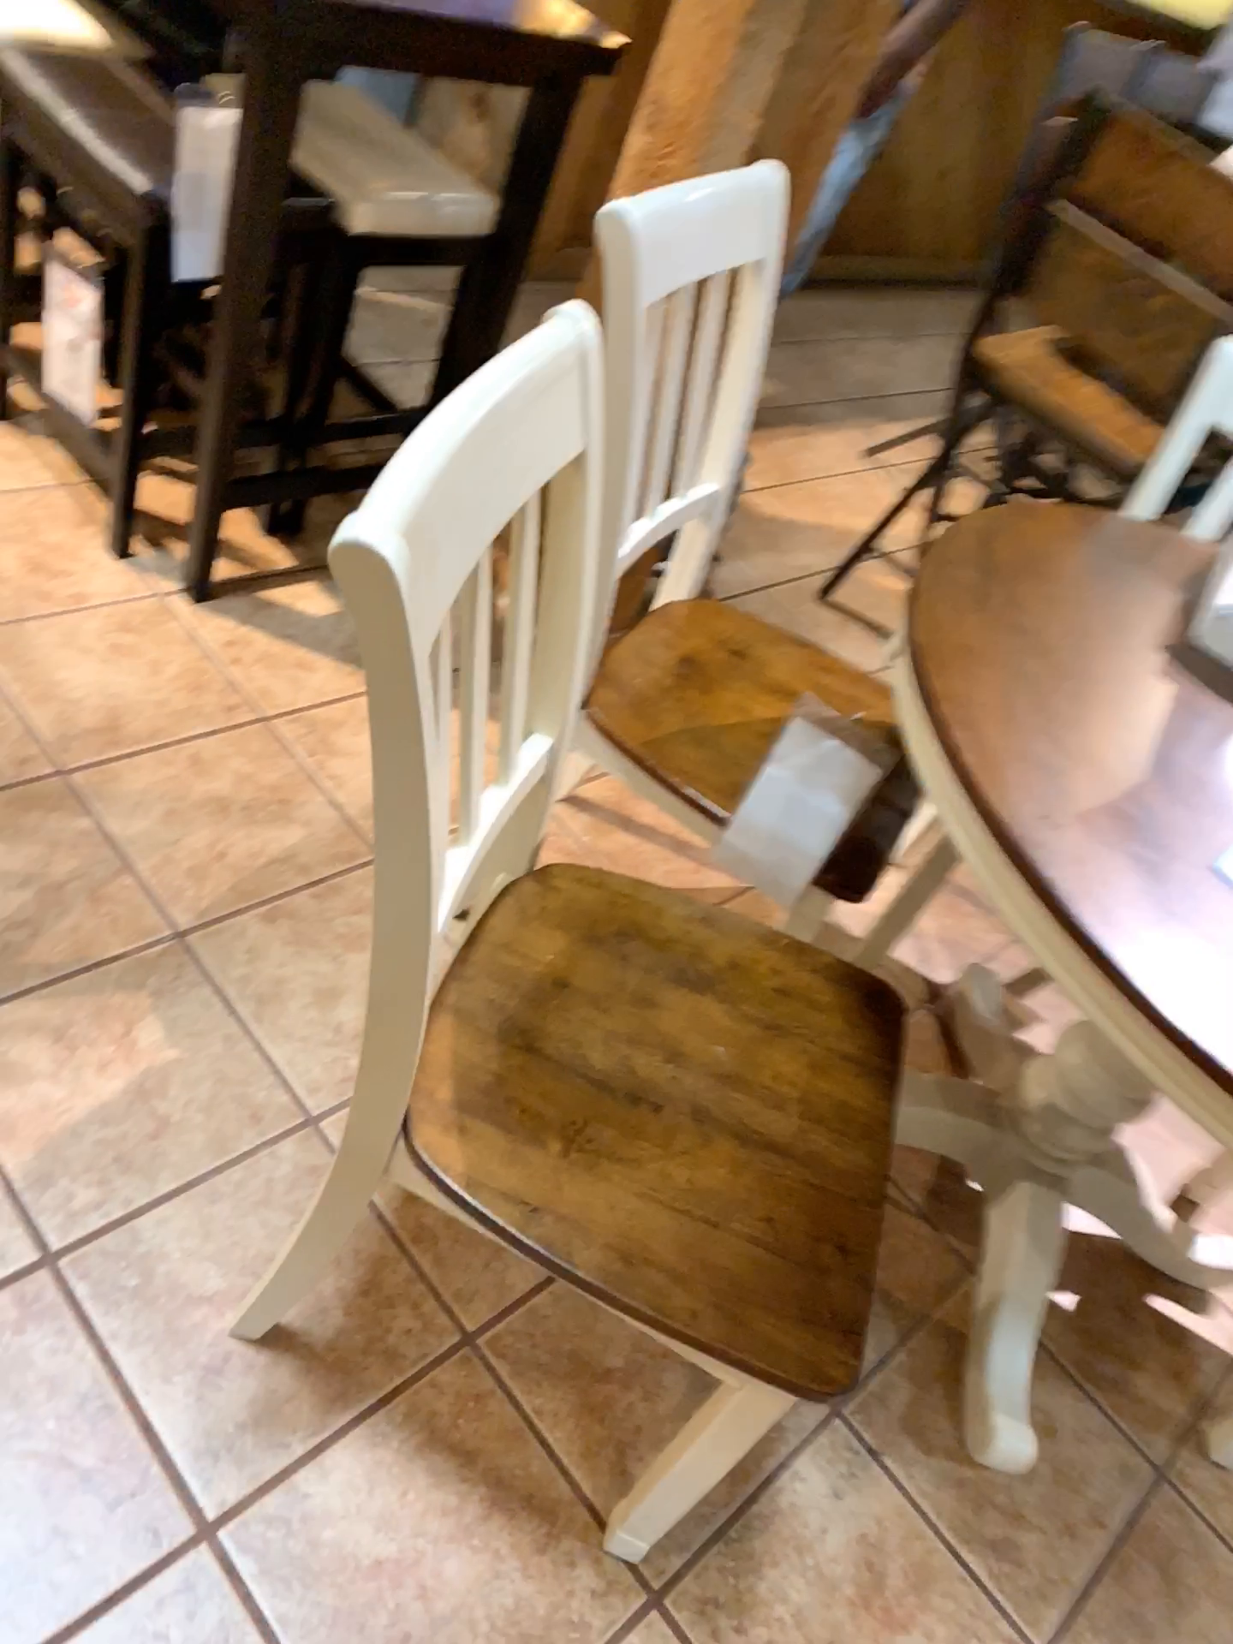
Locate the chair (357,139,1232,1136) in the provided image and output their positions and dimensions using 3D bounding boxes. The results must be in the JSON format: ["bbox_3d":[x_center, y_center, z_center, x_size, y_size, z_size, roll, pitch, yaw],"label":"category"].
[{"bbox_3d":[0.175,-0.199,1.533,0.632,0.900,0.493,32,41,7],"label":"chair"}]

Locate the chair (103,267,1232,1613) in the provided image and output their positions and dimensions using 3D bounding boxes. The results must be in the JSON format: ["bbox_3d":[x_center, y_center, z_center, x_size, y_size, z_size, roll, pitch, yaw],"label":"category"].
[{"bbox_3d":[0.023,0.155,1.078,0.632,0.890,0.493,27,40,0],"label":"chair"}]
